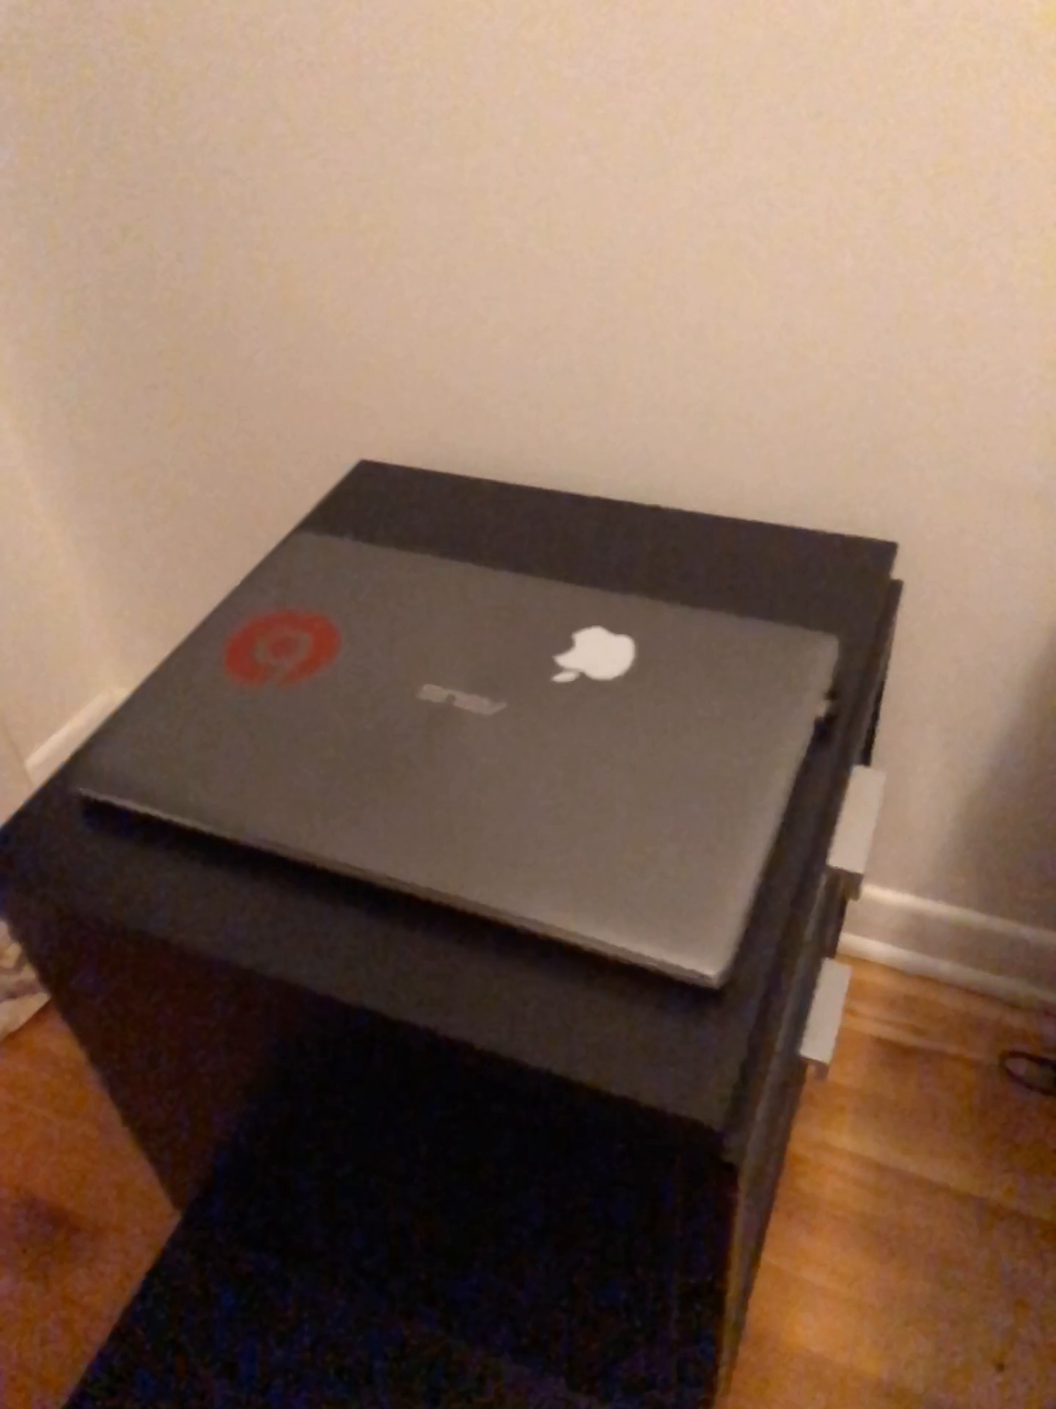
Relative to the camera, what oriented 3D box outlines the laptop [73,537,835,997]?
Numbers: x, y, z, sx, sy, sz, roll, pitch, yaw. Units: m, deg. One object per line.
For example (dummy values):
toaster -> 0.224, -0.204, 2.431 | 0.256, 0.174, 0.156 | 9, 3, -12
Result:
laptop -> -0.037, 0.007, 0.661 | 0.374, 0.010, 0.250 | 13, 46, 21
